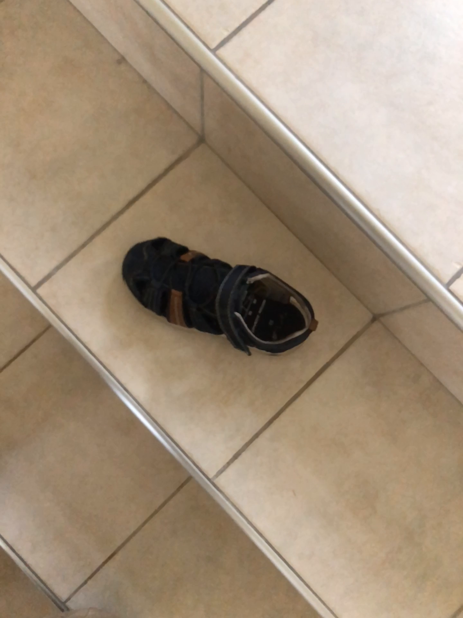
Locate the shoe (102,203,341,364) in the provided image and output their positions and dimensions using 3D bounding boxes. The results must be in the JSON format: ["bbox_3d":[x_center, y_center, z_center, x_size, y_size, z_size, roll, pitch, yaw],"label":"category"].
[{"bbox_3d":[-0.010,-0.021,0.558,0.220,0.100,0.090,20,83,0],"label":"shoe"}]
